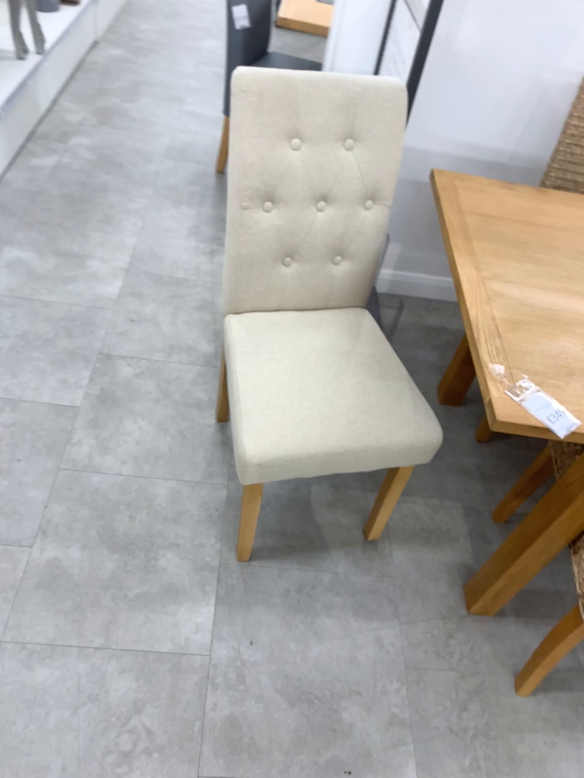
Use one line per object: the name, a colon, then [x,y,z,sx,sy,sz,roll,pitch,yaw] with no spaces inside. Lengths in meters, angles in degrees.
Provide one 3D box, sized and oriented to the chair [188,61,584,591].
chair: [0.057,-0.099,1.272,0.421,0.872,0.615,-6,48,-18]
